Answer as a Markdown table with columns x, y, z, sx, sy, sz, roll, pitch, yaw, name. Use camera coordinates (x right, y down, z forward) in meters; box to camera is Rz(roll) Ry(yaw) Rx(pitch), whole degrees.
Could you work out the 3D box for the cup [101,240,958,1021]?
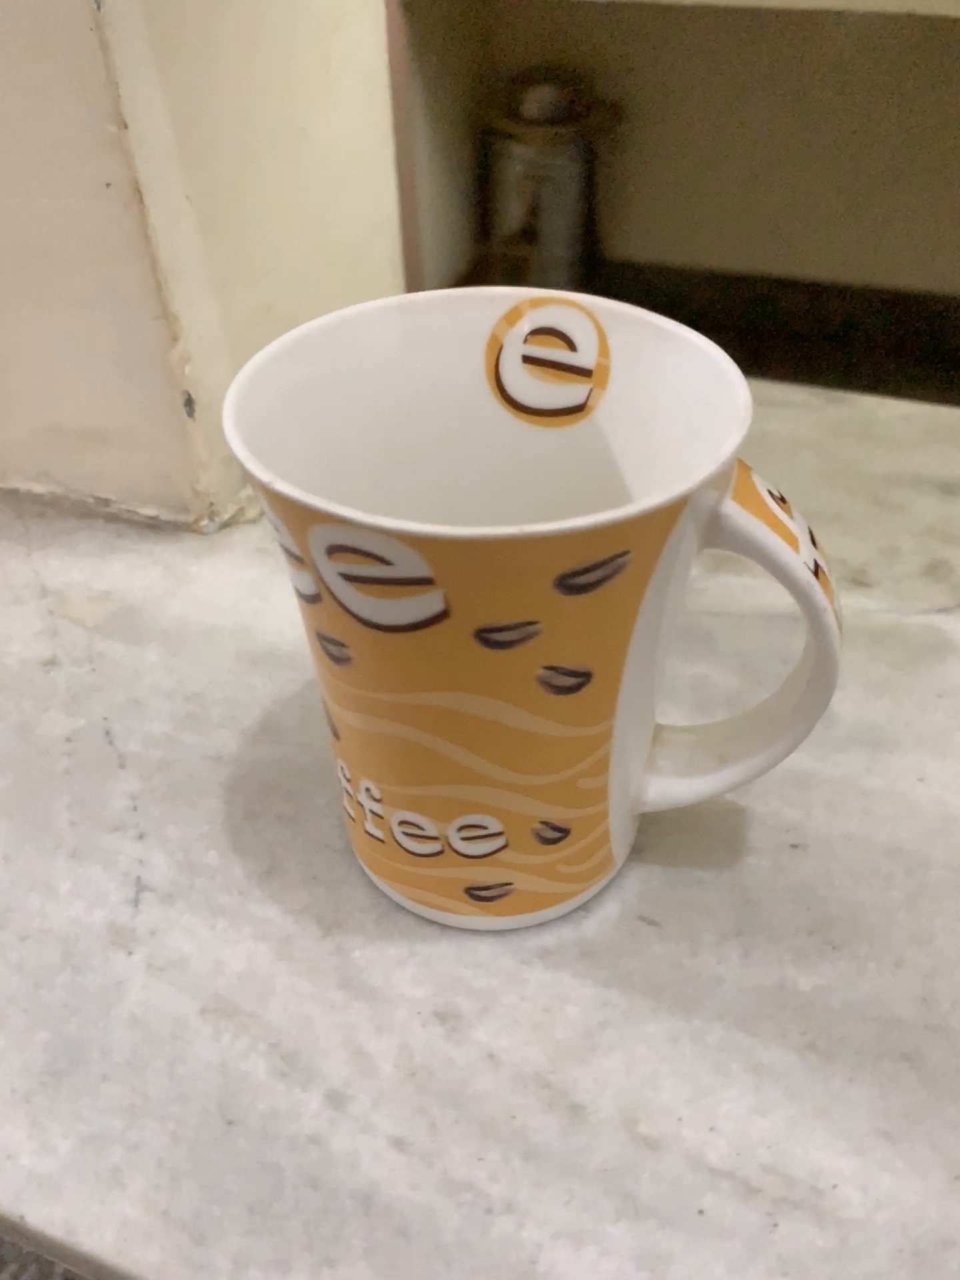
| x | y | z | sx | sy | sz | roll | pitch | yaw | name |
| --- | --- | --- | --- | --- | --- | --- | --- | --- | --- |
| 0.011 | -0.005 | 0.178 | 0.100 | 0.100 | 0.080 | 6 | 40 | 10 | cup |
